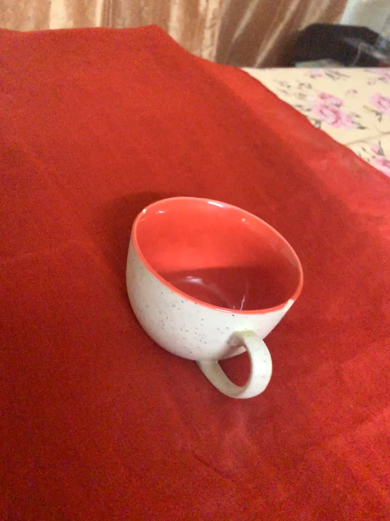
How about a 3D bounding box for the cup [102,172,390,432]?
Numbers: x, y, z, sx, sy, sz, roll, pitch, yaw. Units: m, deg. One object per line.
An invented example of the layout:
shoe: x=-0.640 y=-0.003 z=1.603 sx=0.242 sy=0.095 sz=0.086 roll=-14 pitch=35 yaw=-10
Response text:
cup: x=0.017 y=0.016 z=0.264 sx=0.130 sy=0.069 sz=0.141 roll=11 pitch=42 yaw=-10
